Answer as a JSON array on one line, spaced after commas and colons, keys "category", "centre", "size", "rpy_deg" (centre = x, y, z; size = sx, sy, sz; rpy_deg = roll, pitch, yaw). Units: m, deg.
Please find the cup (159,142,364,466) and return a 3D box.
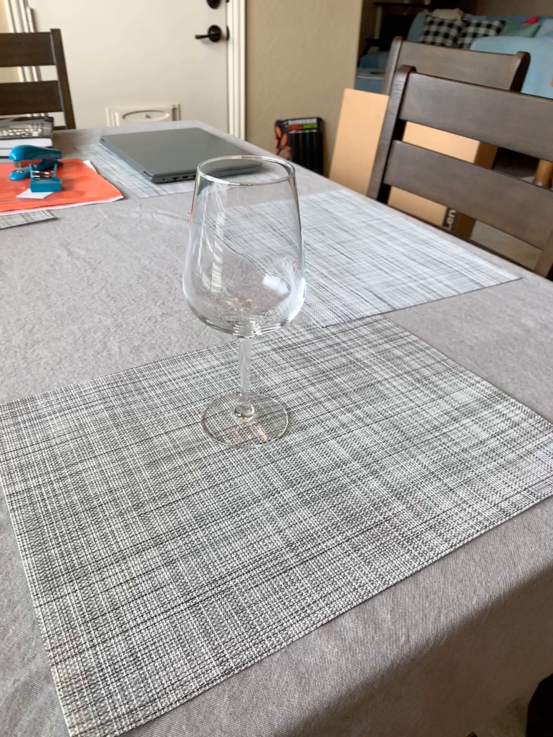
[{"category": "cup", "centre": [-0.017, -0.051, 0.447], "size": [0.107, 0.214, 0.100], "rpy_deg": [2, 33, -1]}]
